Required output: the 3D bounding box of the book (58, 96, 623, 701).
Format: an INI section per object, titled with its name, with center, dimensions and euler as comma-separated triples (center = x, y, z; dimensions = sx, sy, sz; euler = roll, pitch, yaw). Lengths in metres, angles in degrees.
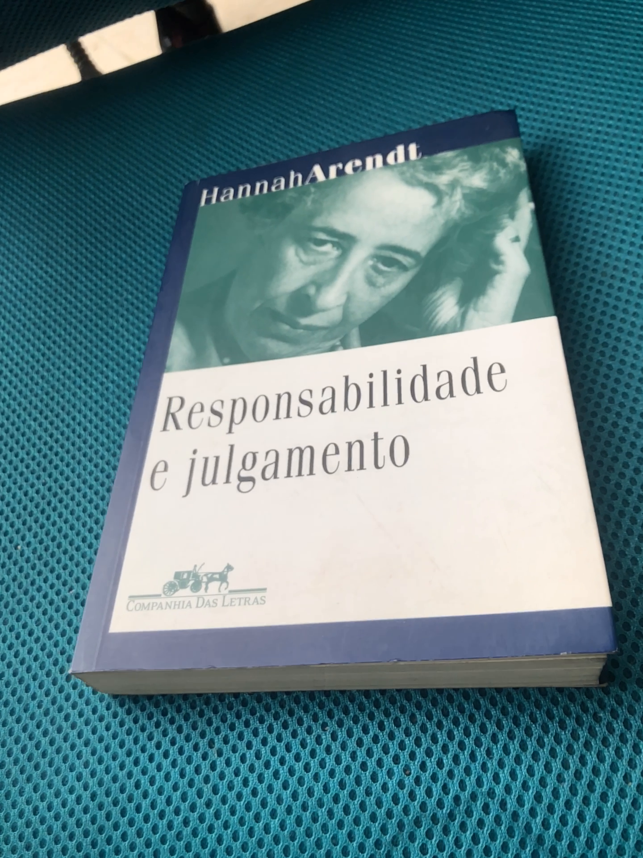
[book]
center = 0.006, -0.022, 0.247
dimensions = 0.142, 0.034, 0.209
euler = -7, 55, 15
